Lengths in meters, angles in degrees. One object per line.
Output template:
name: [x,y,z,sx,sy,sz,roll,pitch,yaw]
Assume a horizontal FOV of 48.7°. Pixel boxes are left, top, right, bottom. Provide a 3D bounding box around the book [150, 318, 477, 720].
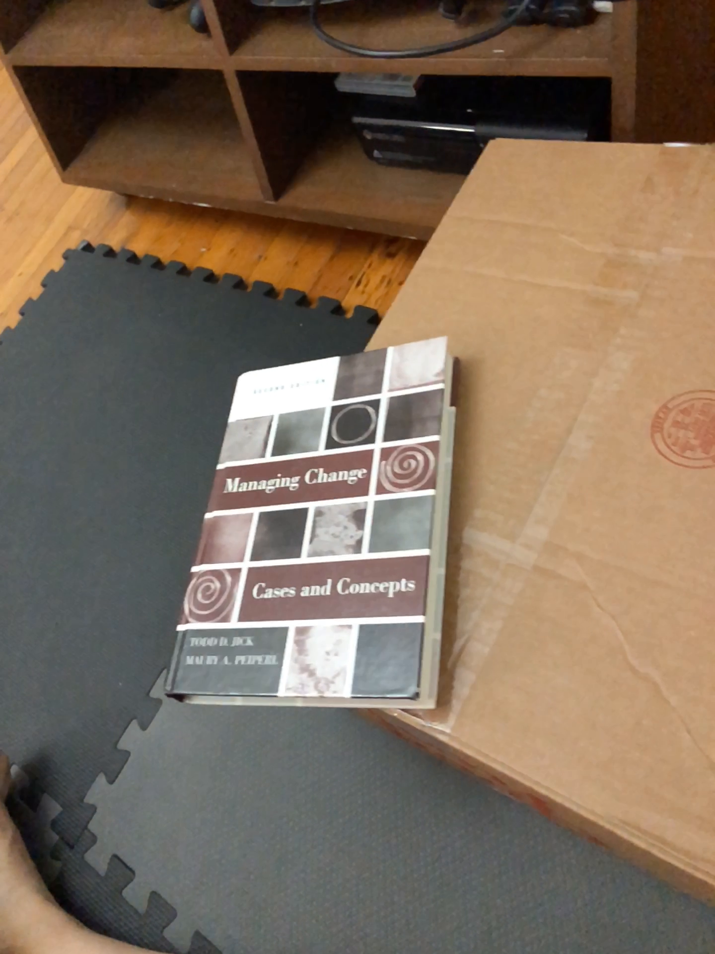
book: [-0.021,0.021,0.503,0.180,0.030,0.251,-6,59,23]
